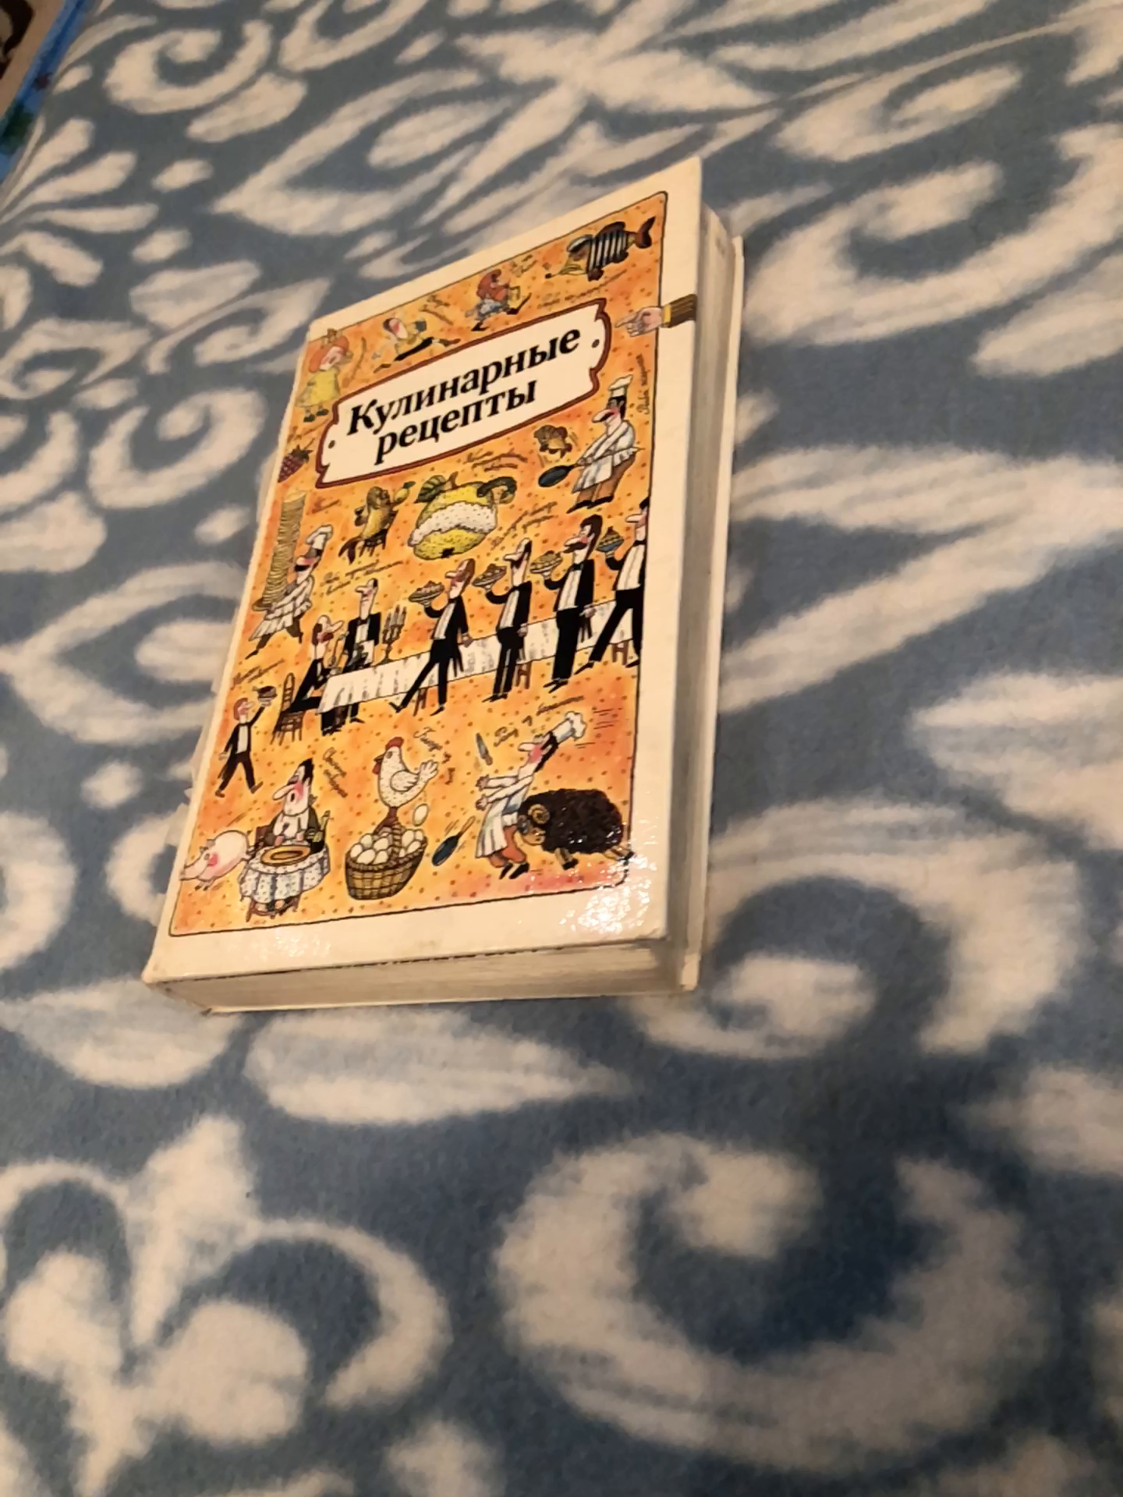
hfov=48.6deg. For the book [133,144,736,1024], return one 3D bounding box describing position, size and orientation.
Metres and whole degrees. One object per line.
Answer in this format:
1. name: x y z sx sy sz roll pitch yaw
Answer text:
1. book: -0.028 -0.044 0.330 0.142 0.032 0.220 -11 59 30
